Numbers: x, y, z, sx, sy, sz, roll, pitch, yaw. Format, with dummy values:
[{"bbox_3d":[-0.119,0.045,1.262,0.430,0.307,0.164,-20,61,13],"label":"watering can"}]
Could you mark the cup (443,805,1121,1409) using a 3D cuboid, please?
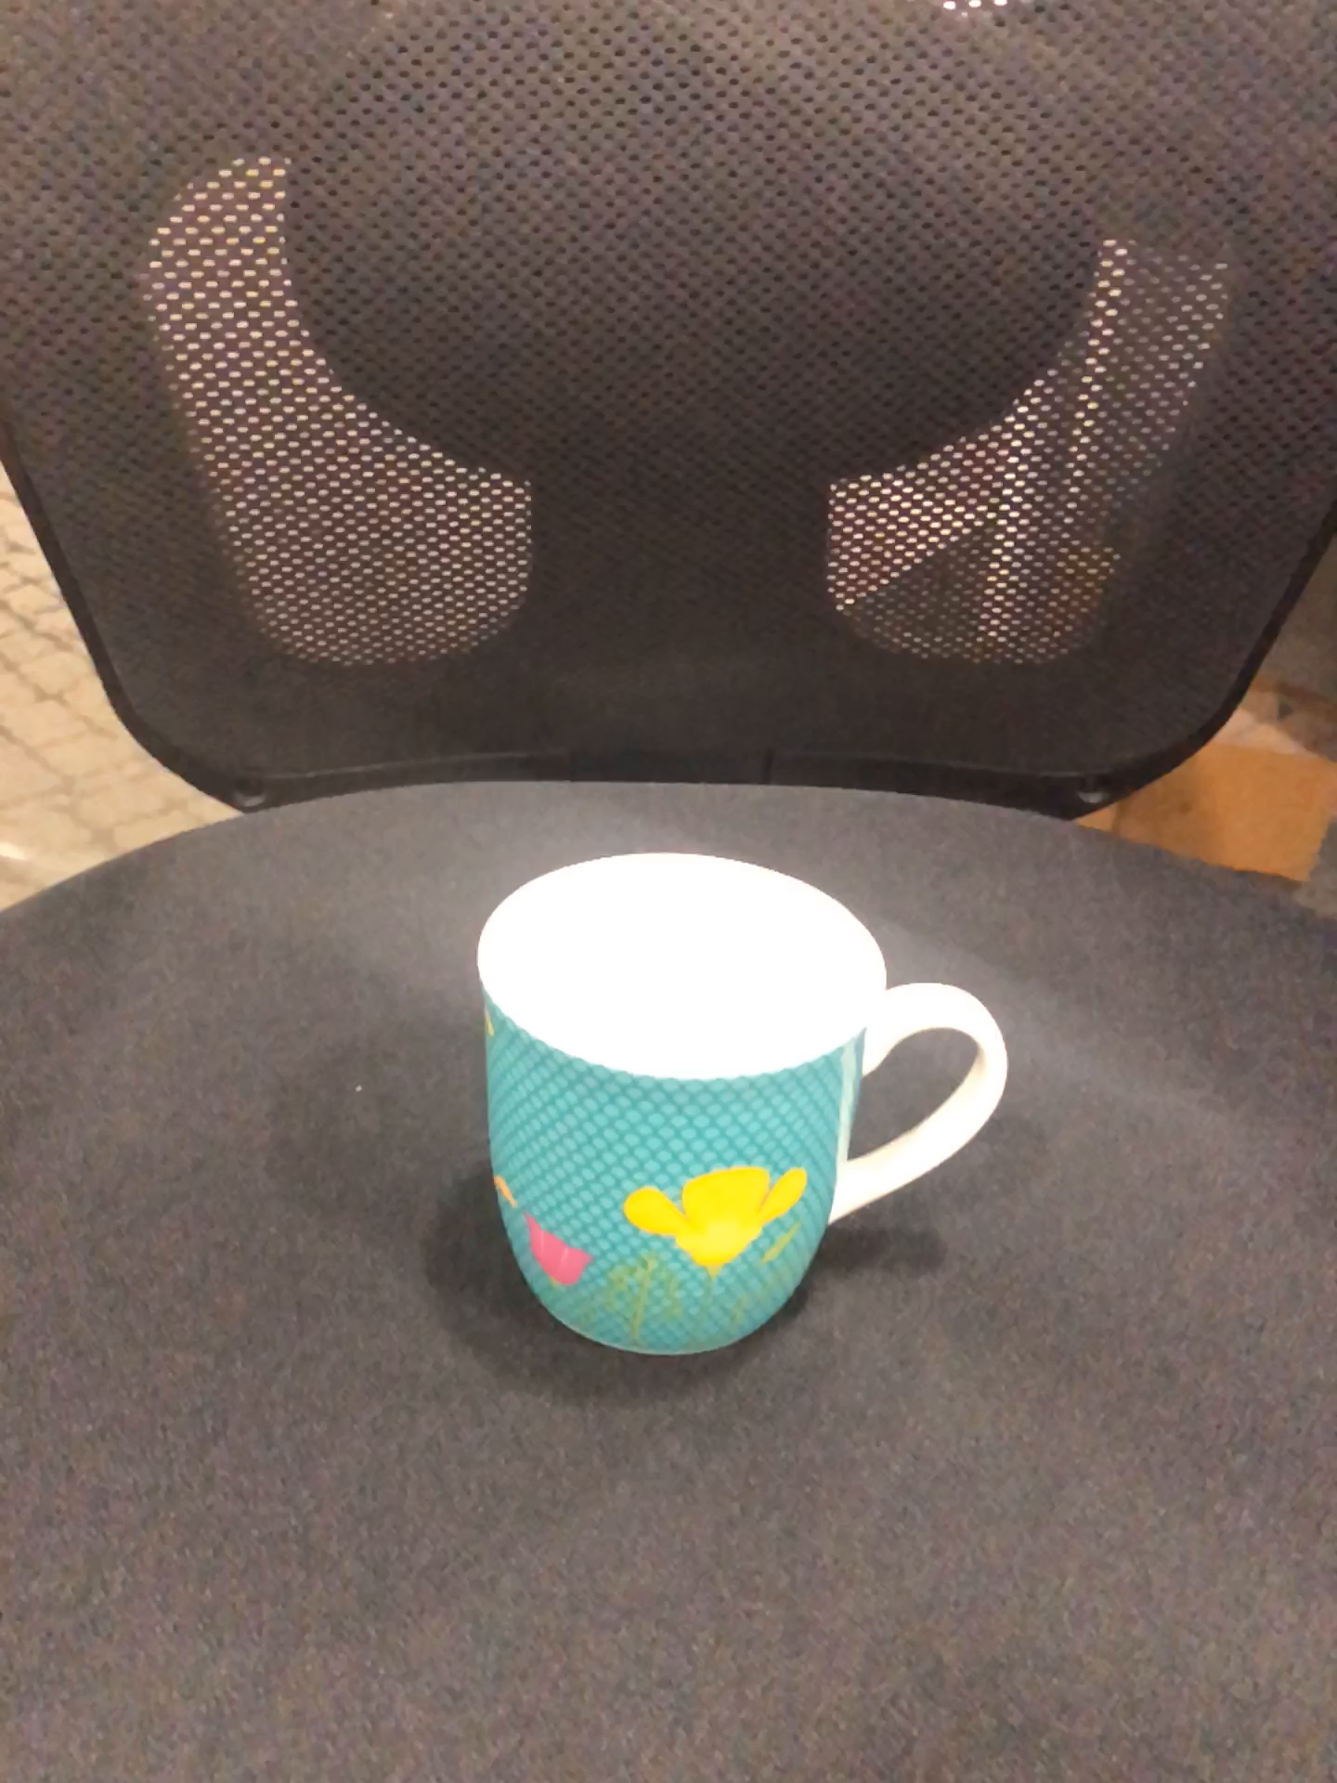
[{"bbox_3d":[0.016,0.040,0.300,0.110,0.080,0.070,-6,36,-15],"label":"cup"}]
